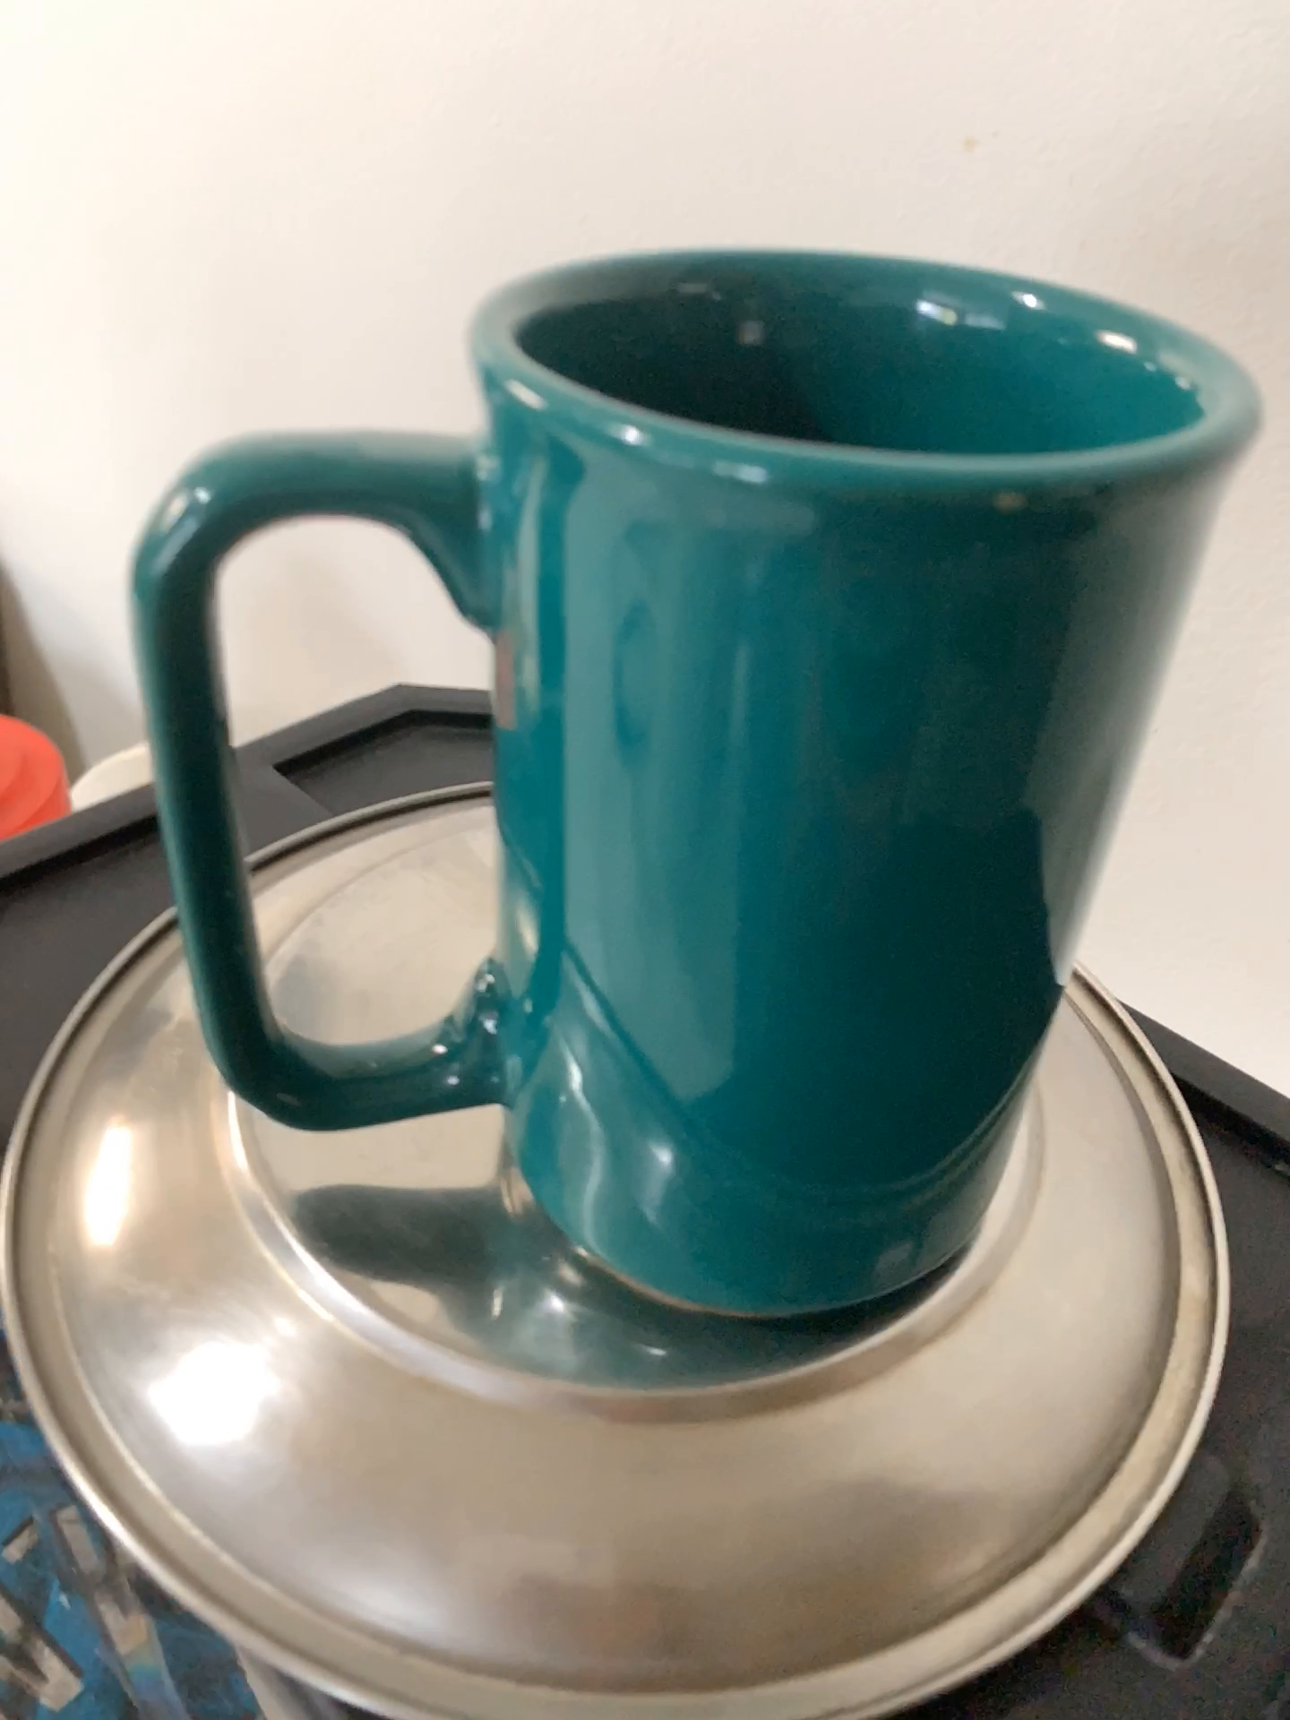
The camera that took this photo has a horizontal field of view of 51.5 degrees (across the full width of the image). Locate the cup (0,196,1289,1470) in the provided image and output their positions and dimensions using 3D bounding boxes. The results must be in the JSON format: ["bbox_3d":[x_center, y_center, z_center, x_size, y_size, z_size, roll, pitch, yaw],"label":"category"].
[{"bbox_3d":[-0.002,-0.006,0.164,0.120,0.119,0.081,-4,36,-12],"label":"cup"}]
